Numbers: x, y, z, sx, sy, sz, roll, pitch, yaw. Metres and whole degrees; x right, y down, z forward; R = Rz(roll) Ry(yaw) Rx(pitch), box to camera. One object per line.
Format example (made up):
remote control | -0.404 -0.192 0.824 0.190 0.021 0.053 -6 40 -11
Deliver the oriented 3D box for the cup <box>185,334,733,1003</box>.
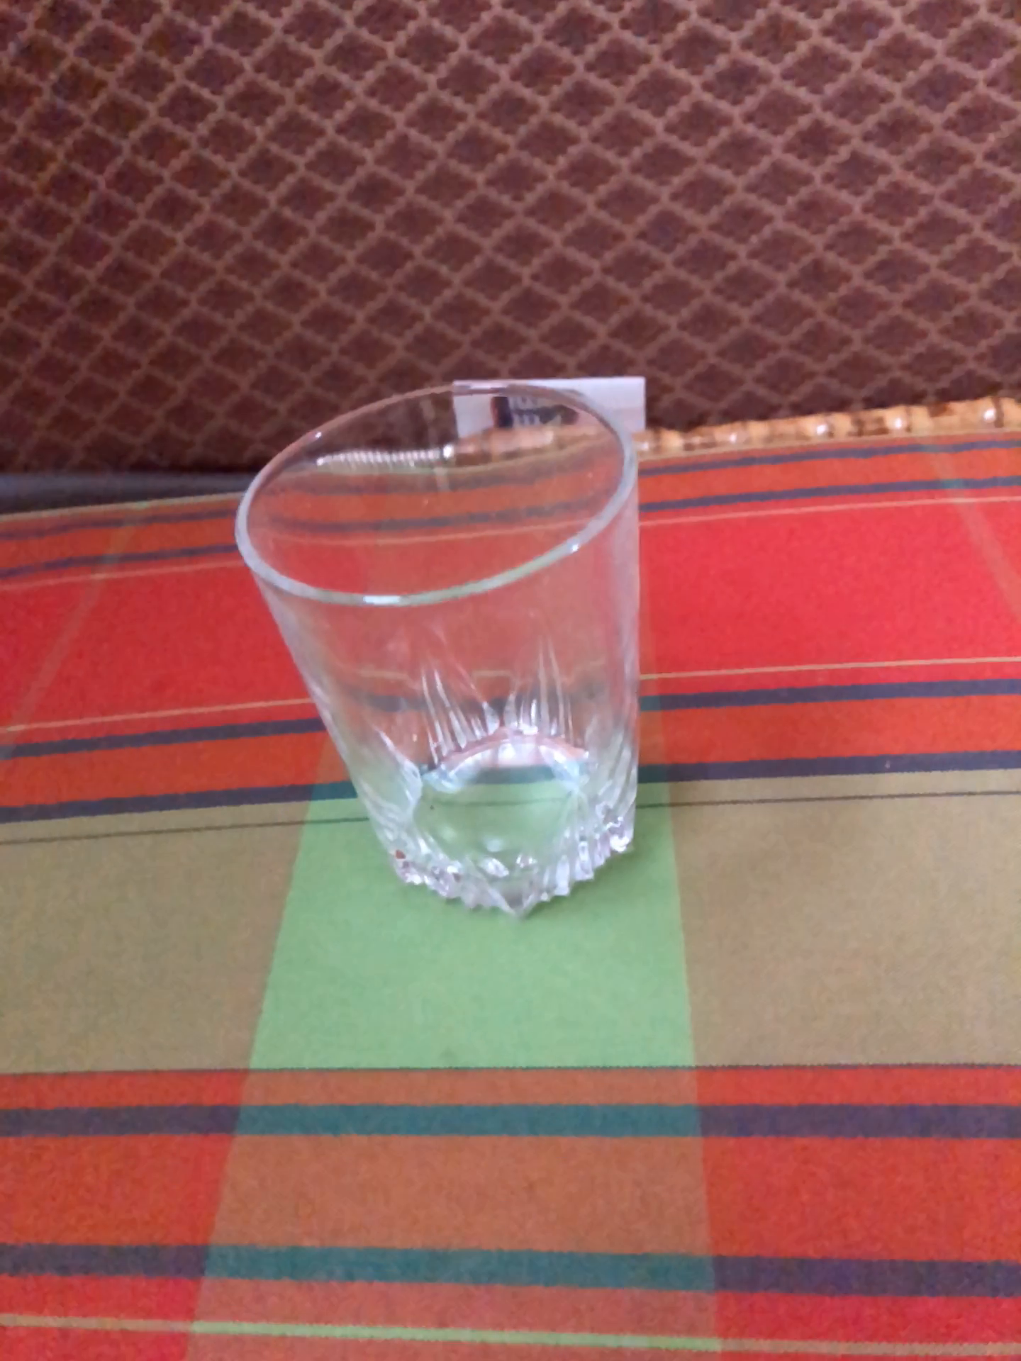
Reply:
cup | -0.008 -0.003 0.210 0.070 0.080 0.070 -7 43 7
